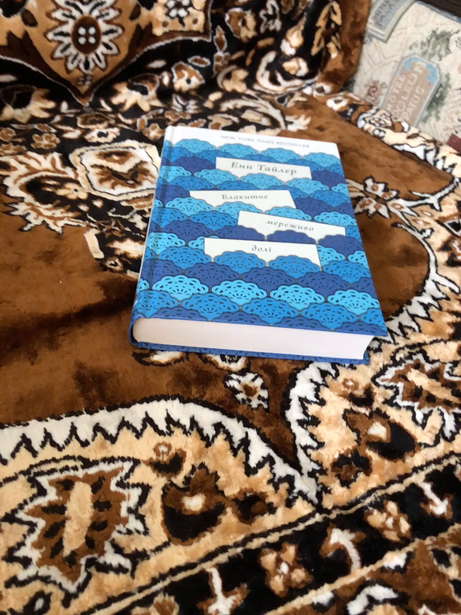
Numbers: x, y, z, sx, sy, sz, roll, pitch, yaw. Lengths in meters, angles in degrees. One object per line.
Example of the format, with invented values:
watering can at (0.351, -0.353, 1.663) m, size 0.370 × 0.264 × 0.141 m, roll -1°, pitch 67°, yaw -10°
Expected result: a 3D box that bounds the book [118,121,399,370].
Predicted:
book at (0.014, -0.061, 0.371) m, size 0.154 × 0.030 × 0.234 m, roll 5°, pitch 44°, yaw -5°
